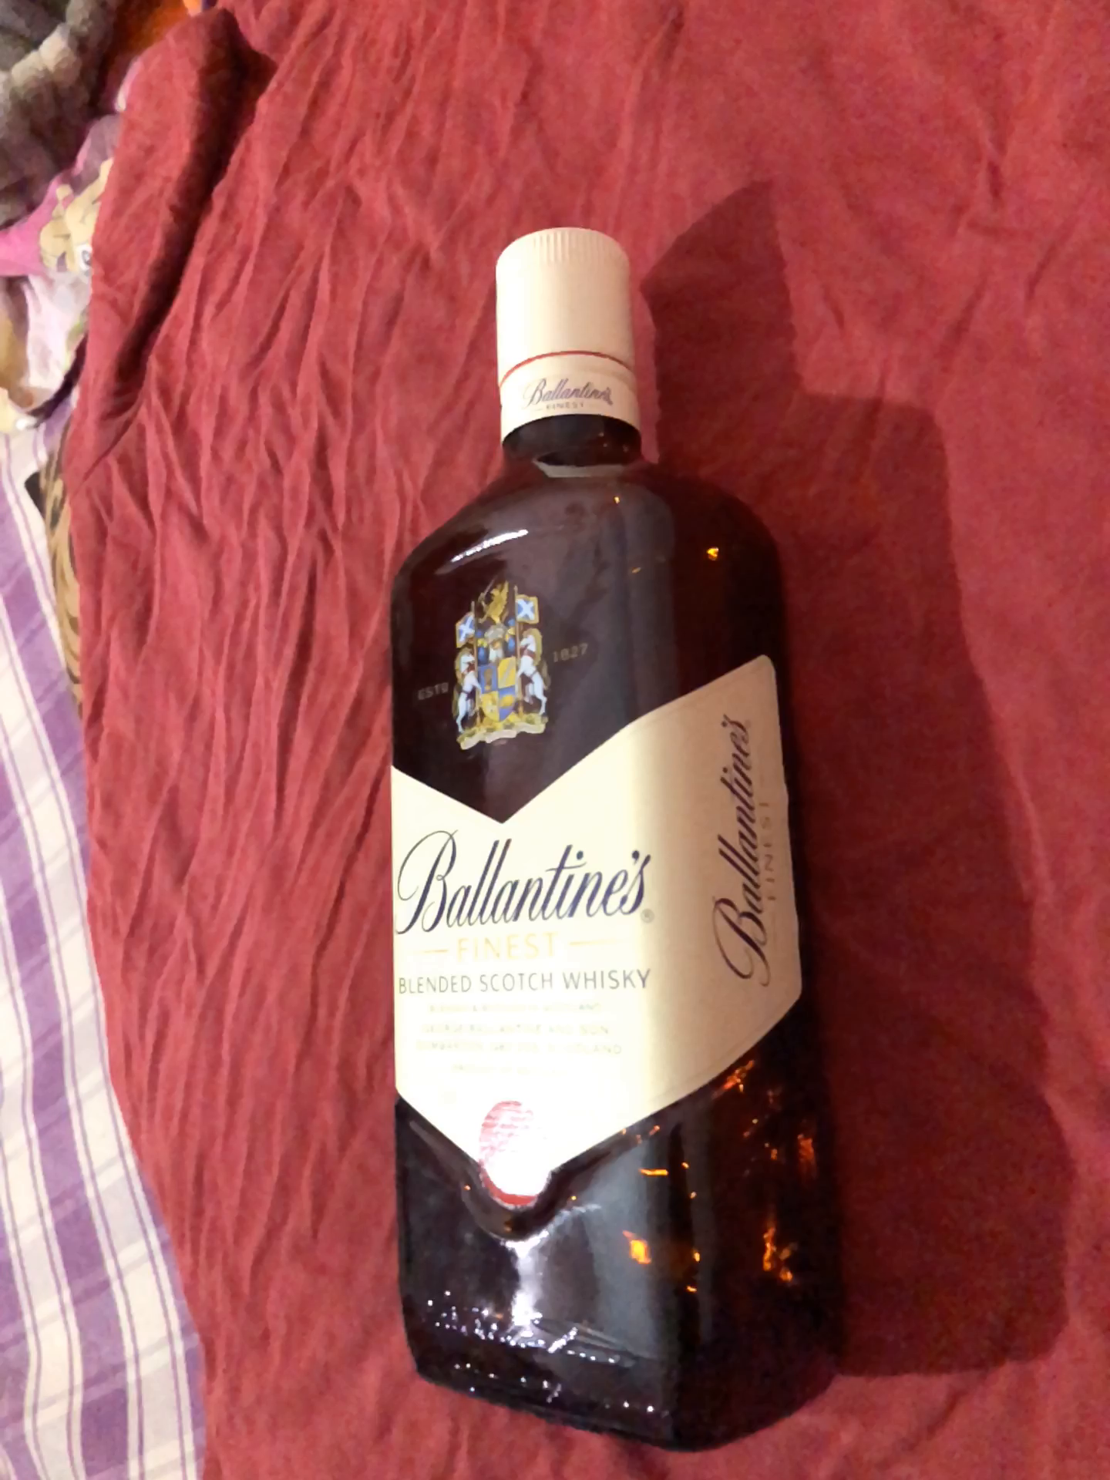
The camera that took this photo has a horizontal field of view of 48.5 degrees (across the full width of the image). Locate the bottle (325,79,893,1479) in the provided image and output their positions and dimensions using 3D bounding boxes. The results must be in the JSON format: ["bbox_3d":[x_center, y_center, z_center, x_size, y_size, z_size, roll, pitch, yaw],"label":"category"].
[{"bbox_3d":[0.005,0.008,0.259,0.090,0.050,0.250,-11,78,38],"label":"bottle"}]
